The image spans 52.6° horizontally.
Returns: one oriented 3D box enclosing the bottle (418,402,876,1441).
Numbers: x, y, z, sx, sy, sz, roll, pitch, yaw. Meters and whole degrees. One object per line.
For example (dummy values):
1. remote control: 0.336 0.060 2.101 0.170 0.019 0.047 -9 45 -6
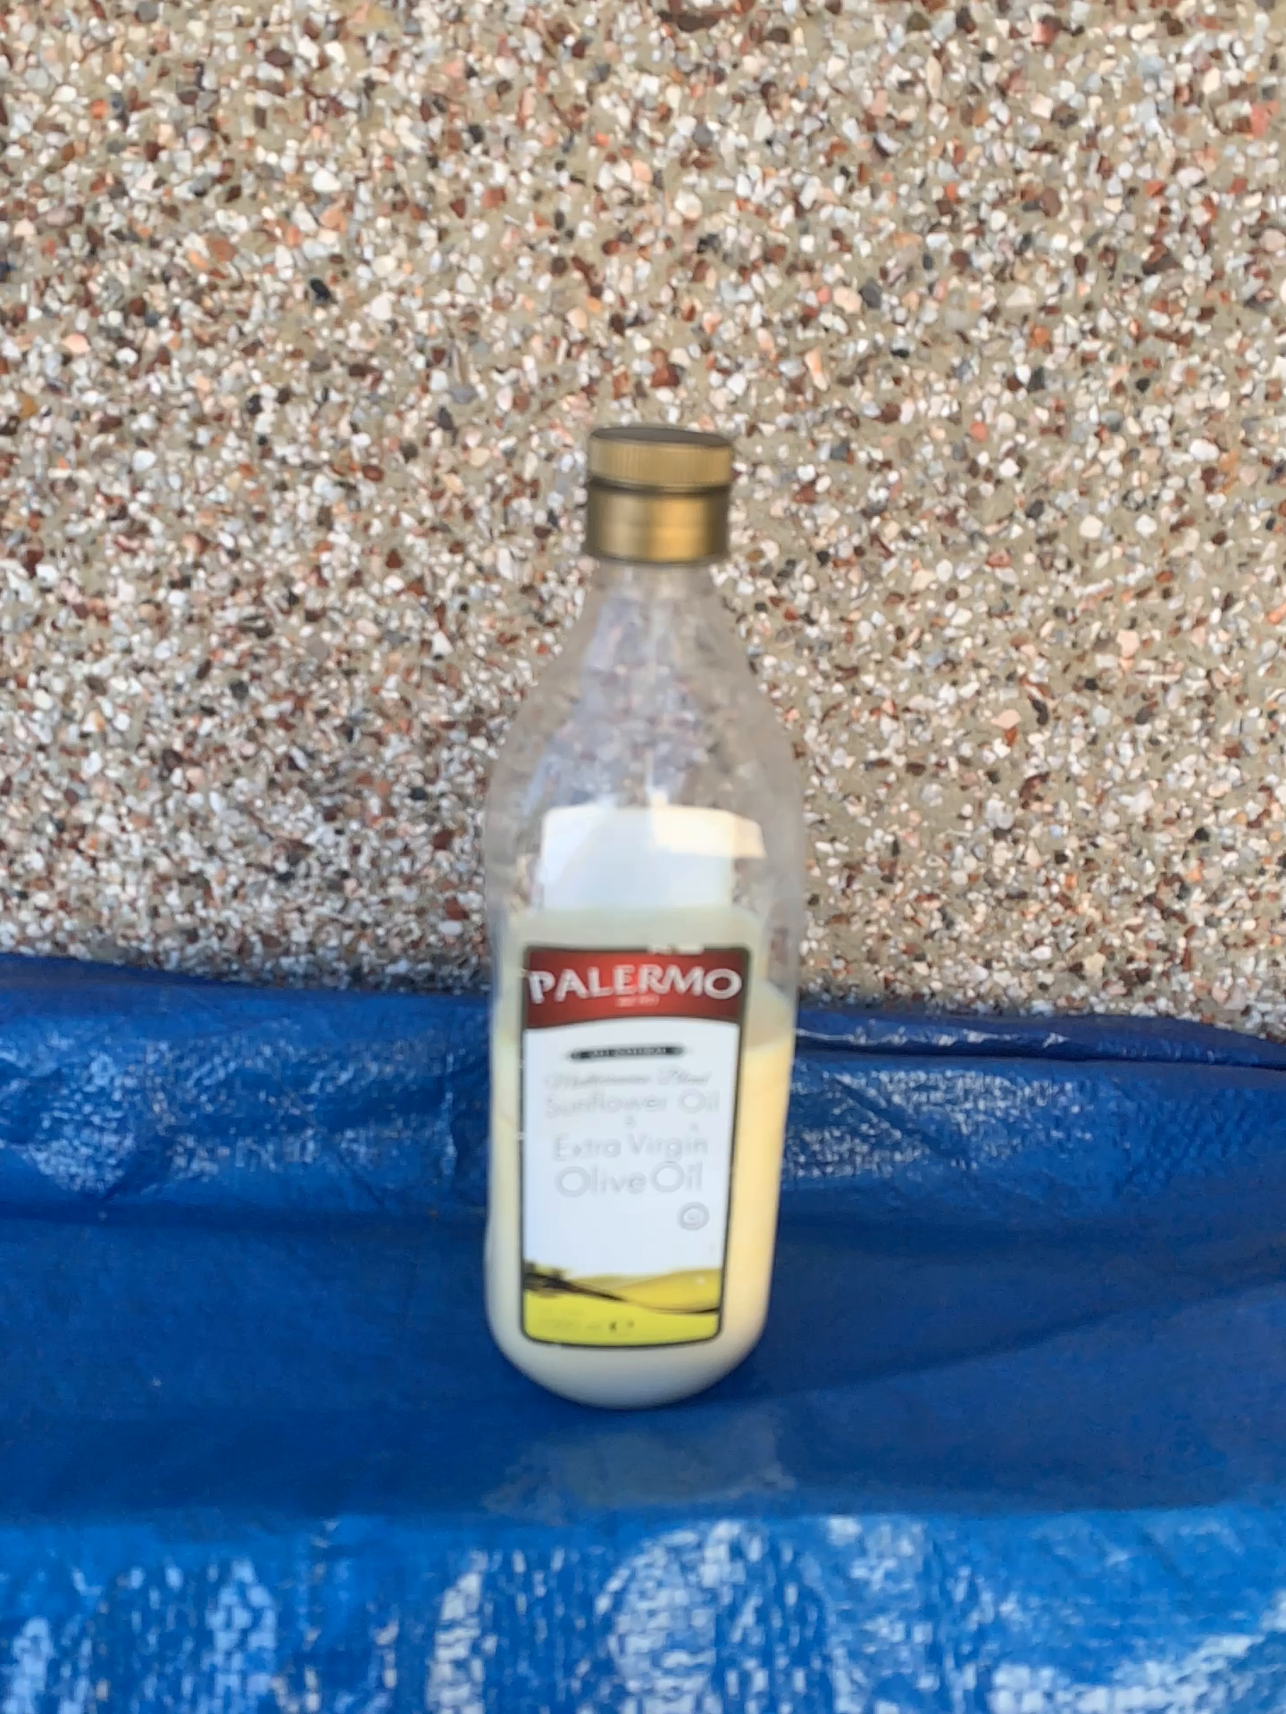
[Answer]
1. bottle: -0.001 0.021 0.314 0.080 0.238 0.081 1 25 0
